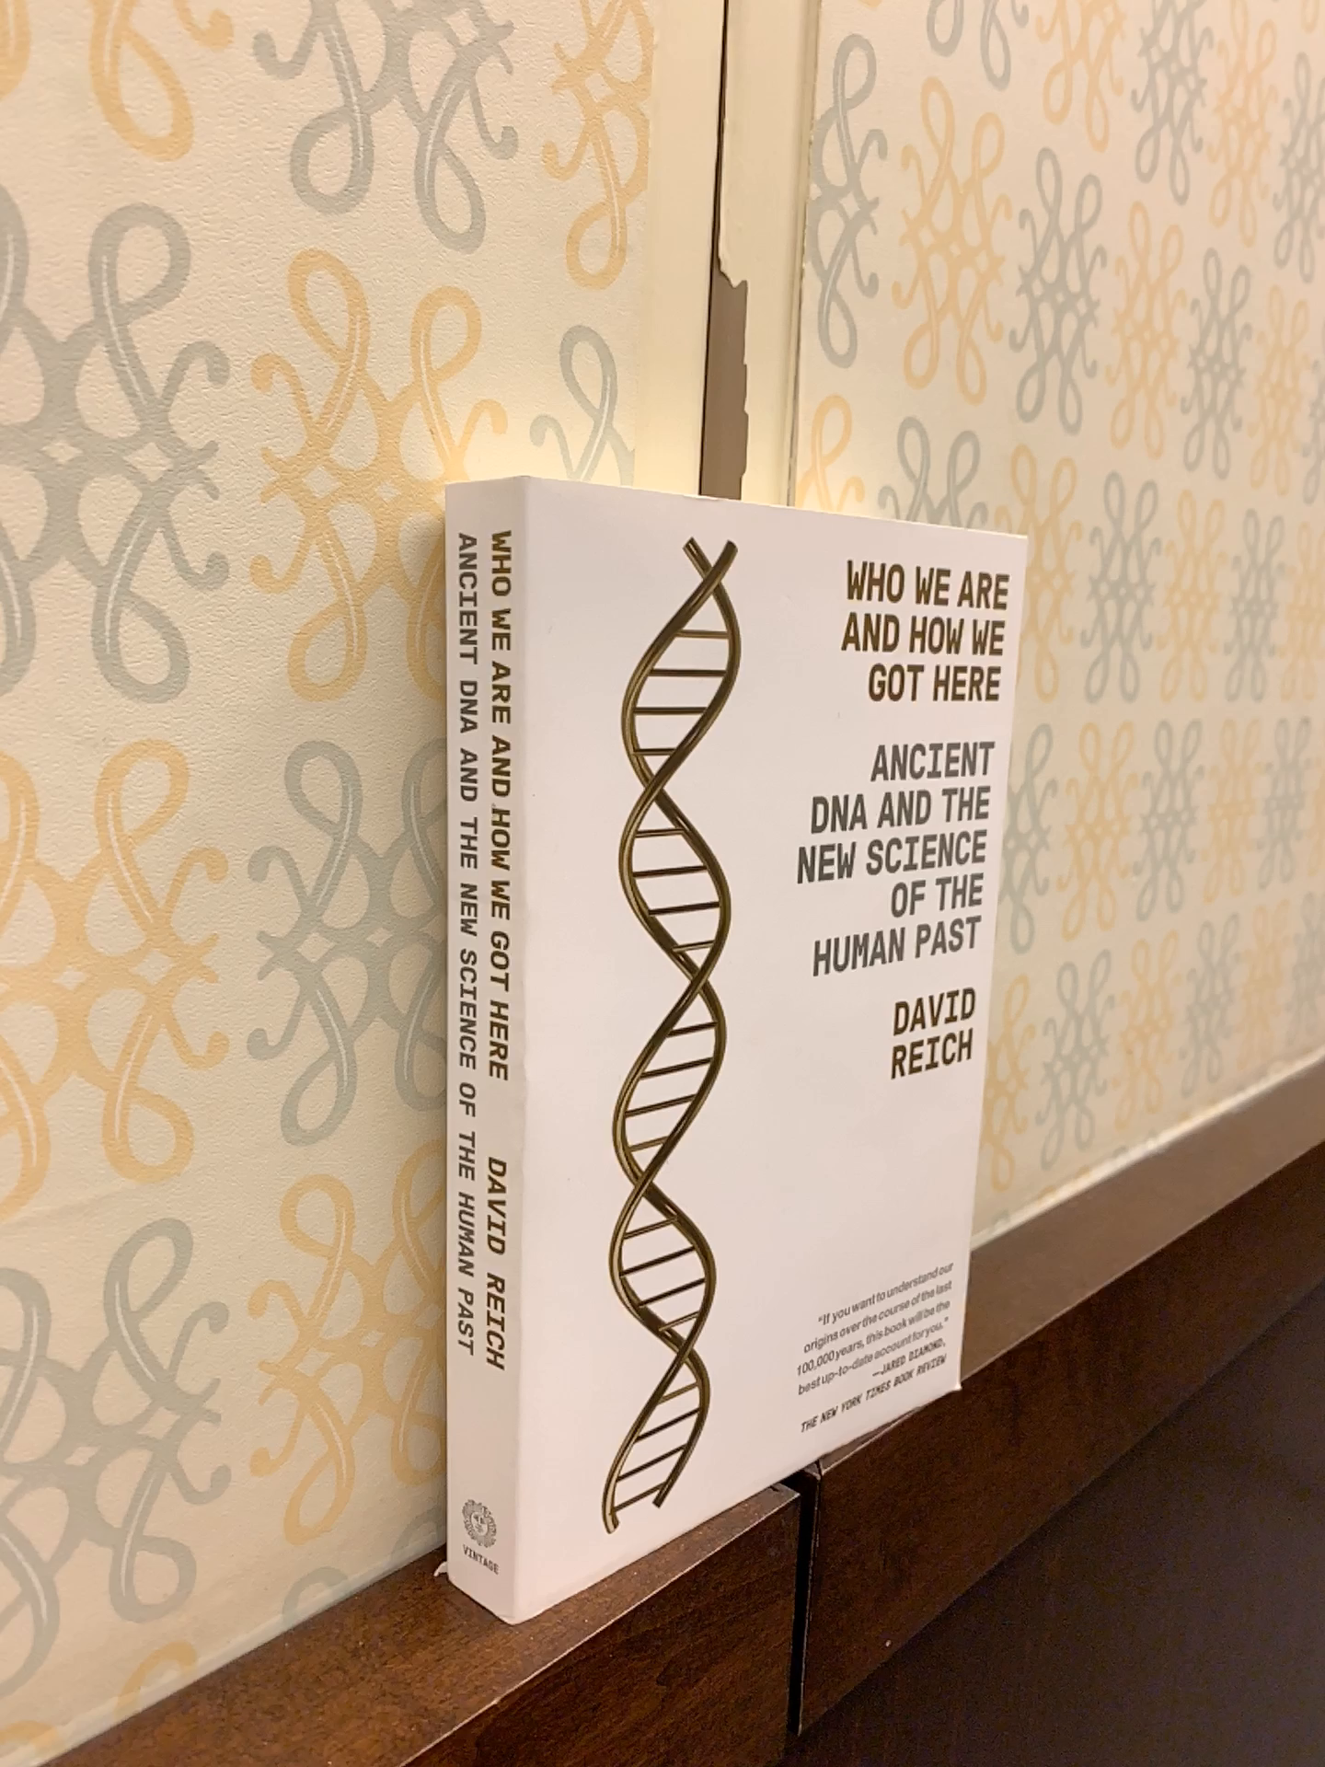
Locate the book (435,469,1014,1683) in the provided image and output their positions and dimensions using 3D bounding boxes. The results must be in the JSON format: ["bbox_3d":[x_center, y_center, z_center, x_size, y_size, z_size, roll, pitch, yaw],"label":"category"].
[{"bbox_3d":[0.017,0.028,0.280,0.041,0.199,0.127,8,11,41],"label":"book"}]
